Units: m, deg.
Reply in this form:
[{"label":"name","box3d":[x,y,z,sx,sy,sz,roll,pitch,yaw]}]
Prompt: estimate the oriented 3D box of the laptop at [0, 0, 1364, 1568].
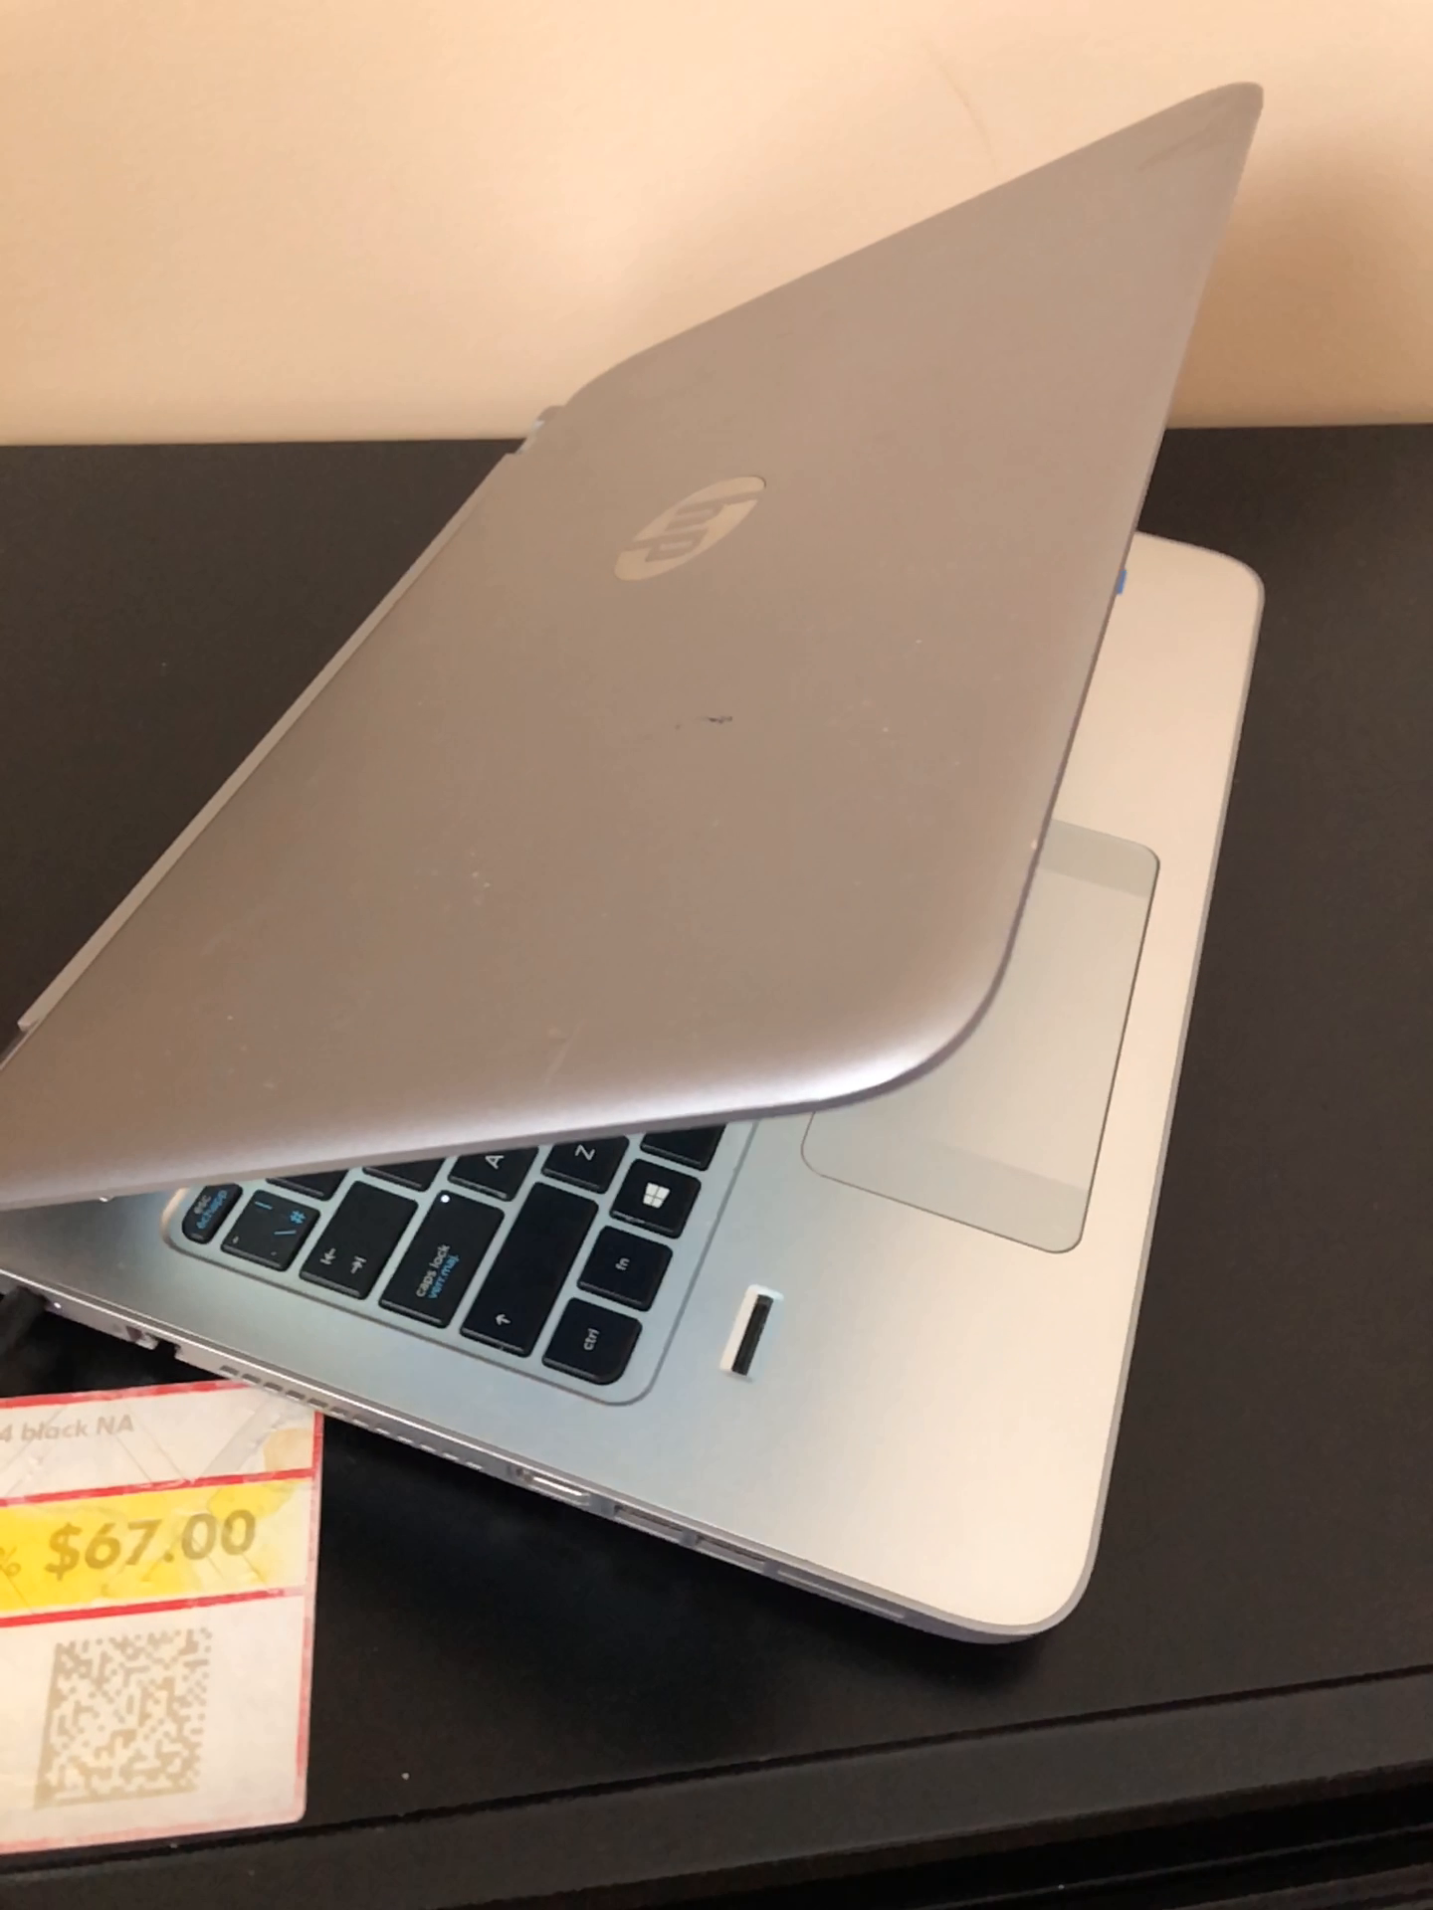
[{"label":"laptop","box3d":[0.002,-0.086,0.375,0.227,0.153,0.357,16,48,9]}]
